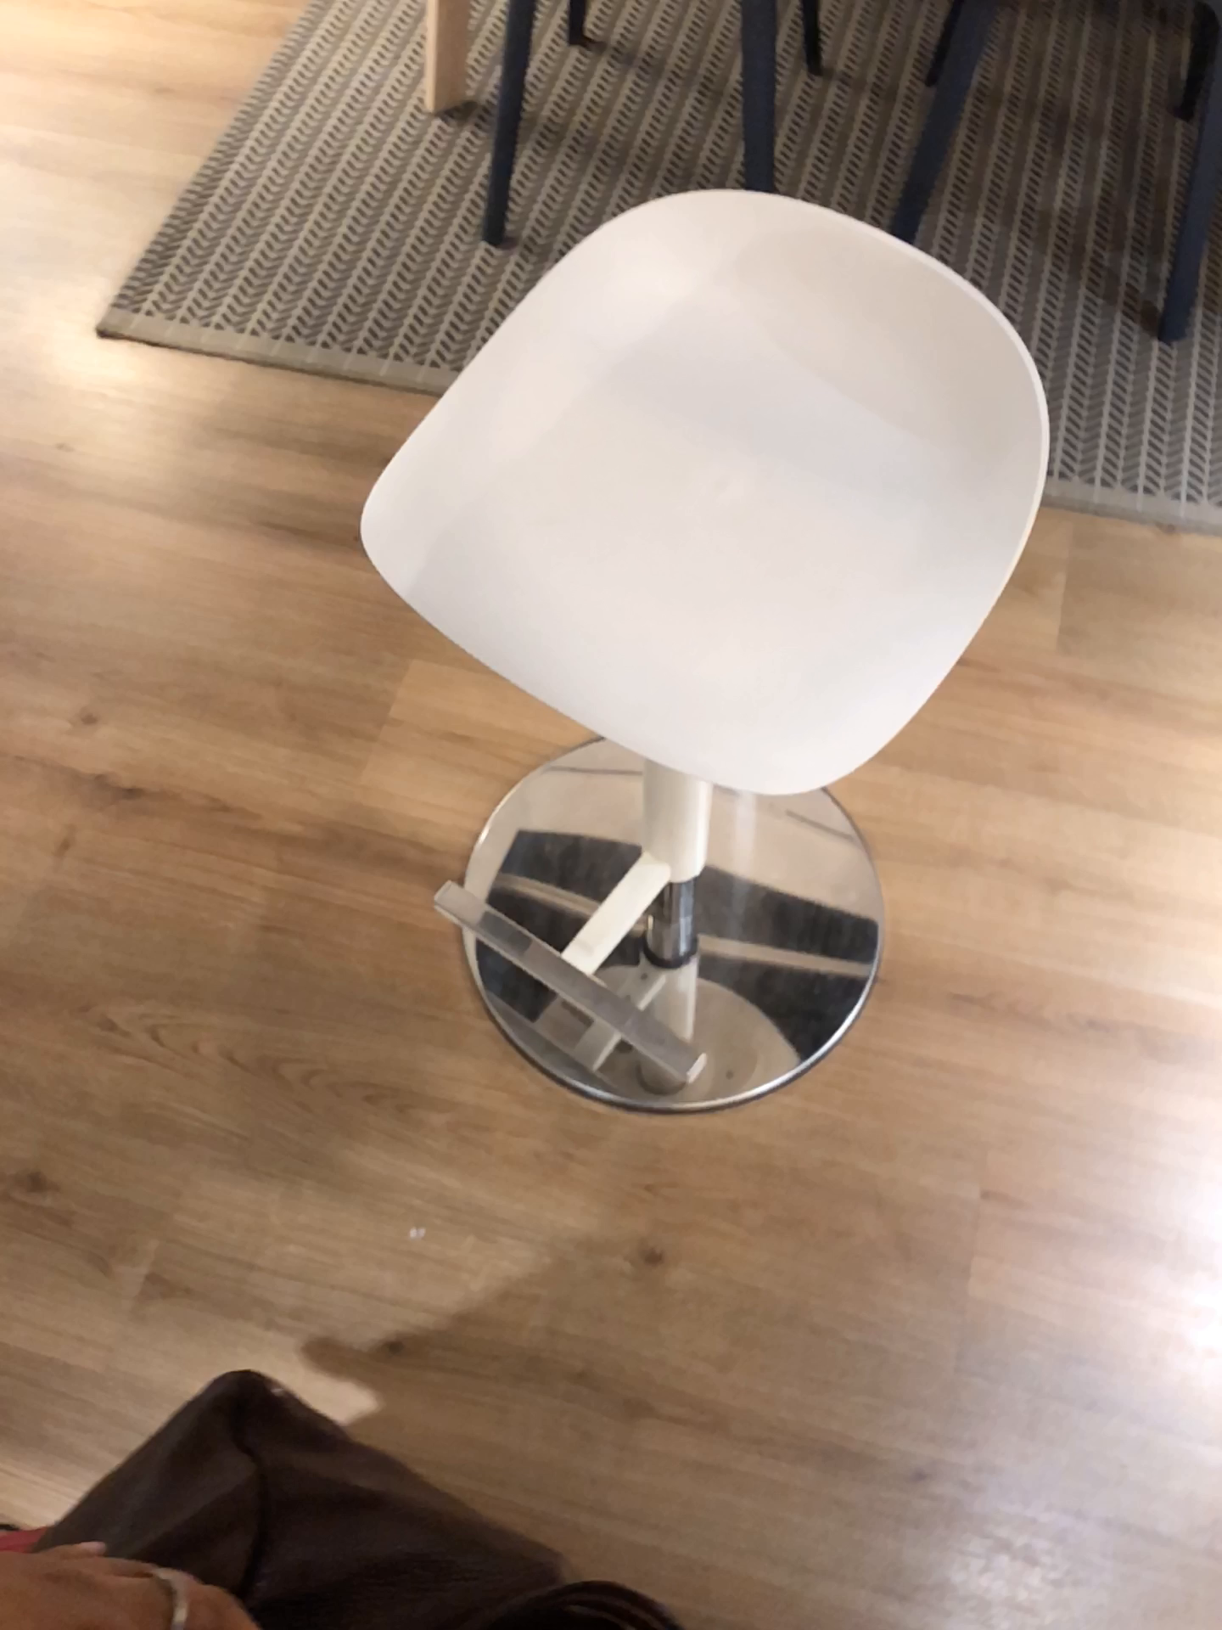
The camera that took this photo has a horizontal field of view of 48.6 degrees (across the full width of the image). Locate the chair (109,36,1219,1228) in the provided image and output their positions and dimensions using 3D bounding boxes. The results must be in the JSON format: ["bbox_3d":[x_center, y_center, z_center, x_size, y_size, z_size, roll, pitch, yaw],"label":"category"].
[{"bbox_3d":[0.047,-0.078,1.050,0.440,0.699,0.450,29,65,17],"label":"chair"}]
